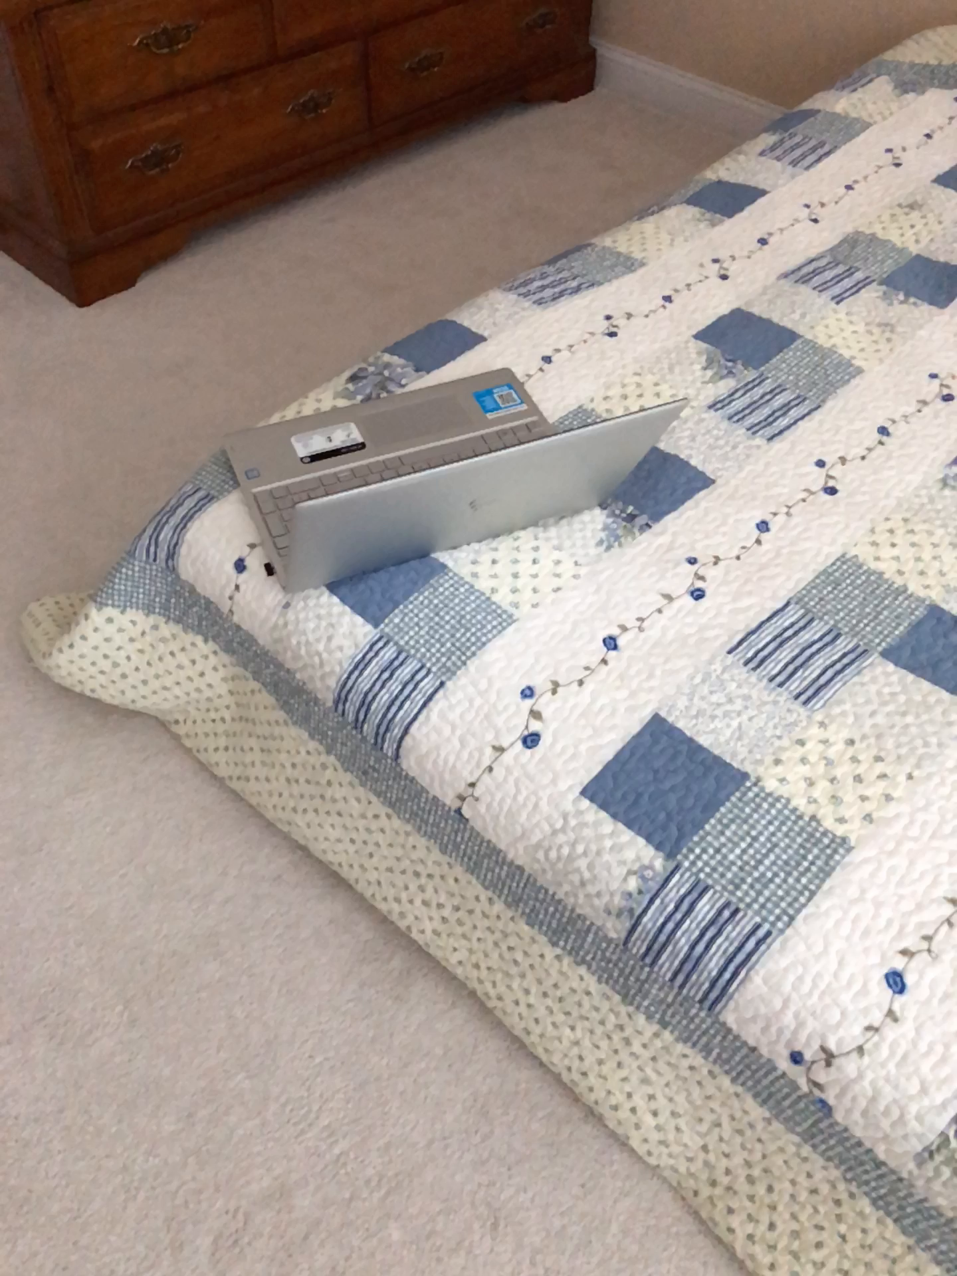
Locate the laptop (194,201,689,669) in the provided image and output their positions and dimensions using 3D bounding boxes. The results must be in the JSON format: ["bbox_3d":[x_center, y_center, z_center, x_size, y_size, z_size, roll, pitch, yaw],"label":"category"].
[{"bbox_3d":[-0.051,-0.221,1.057,0.355,0.208,0.359,-17,52,-16],"label":"laptop"}]
